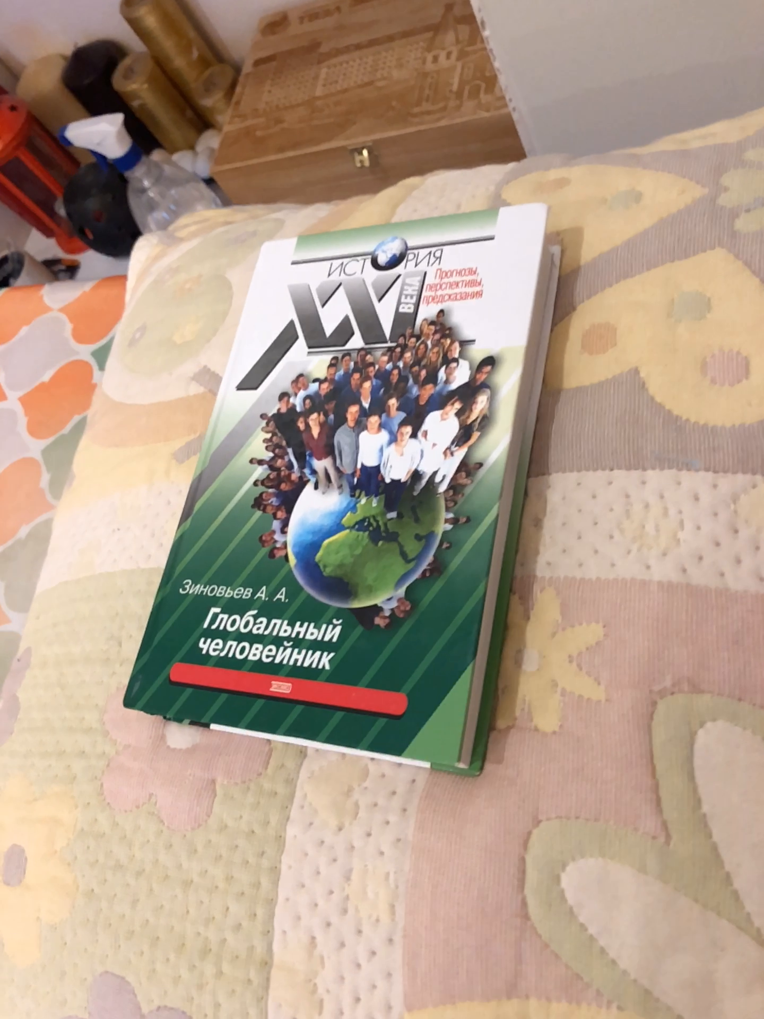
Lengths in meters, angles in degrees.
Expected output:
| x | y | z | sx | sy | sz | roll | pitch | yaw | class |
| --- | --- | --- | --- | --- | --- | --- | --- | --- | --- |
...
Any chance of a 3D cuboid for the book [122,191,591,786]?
| x | y | z | sx | sy | sz | roll | pitch | yaw | class |
| --- | --- | --- | --- | --- | --- | --- | --- | --- | --- |
| -0.004 | -0.017 | 0.318 | 0.134 | 0.036 | 0.207 | 2 | 67 | 27 | book |
